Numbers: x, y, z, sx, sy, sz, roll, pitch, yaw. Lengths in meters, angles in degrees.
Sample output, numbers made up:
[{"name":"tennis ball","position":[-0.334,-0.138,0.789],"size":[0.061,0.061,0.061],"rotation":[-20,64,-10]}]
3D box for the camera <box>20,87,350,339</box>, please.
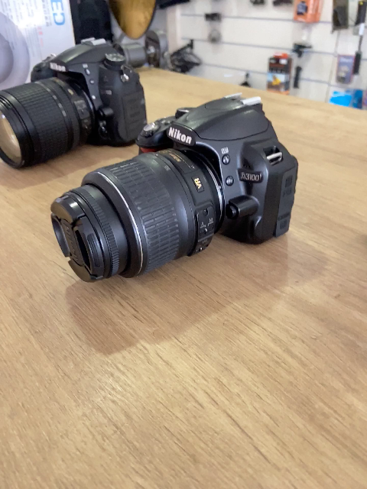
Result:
[{"name":"camera","position":[0.004,-0.045,0.281],"size":[0.181,0.089,0.130],"rotation":[-26,40,-31]}]
